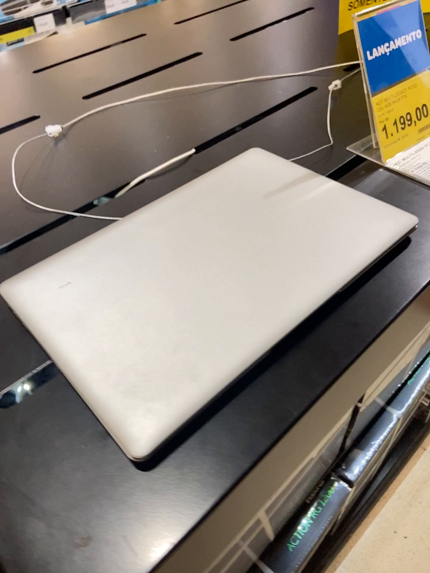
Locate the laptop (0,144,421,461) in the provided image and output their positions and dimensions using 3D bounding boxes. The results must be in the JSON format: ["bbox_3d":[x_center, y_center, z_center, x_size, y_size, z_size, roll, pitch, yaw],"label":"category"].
[{"bbox_3d":[0.002,-0.030,0.390,0.315,0.003,0.205,-35,53,-26],"label":"laptop"}]
